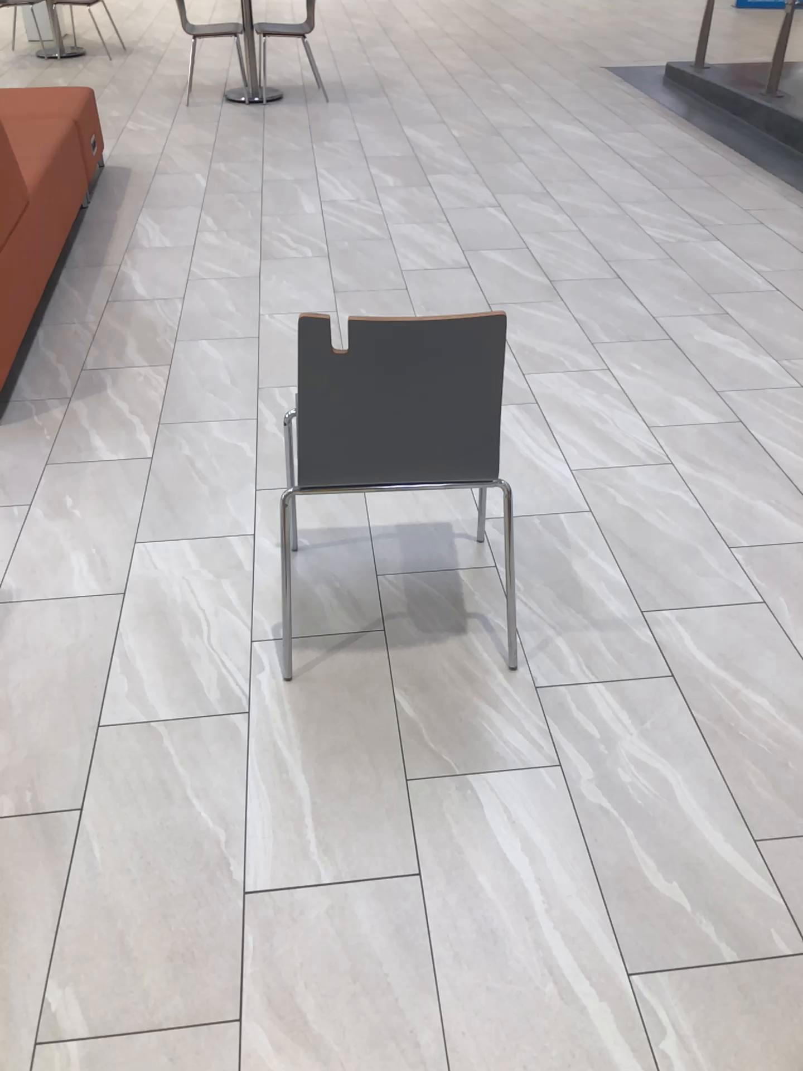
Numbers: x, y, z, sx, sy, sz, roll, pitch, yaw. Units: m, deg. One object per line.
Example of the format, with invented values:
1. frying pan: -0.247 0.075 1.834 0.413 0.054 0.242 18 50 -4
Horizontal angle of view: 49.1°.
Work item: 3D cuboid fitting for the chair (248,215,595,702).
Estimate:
1. chair: 0.009 -0.151 1.759 0.524 0.787 0.518 -4 37 -5
